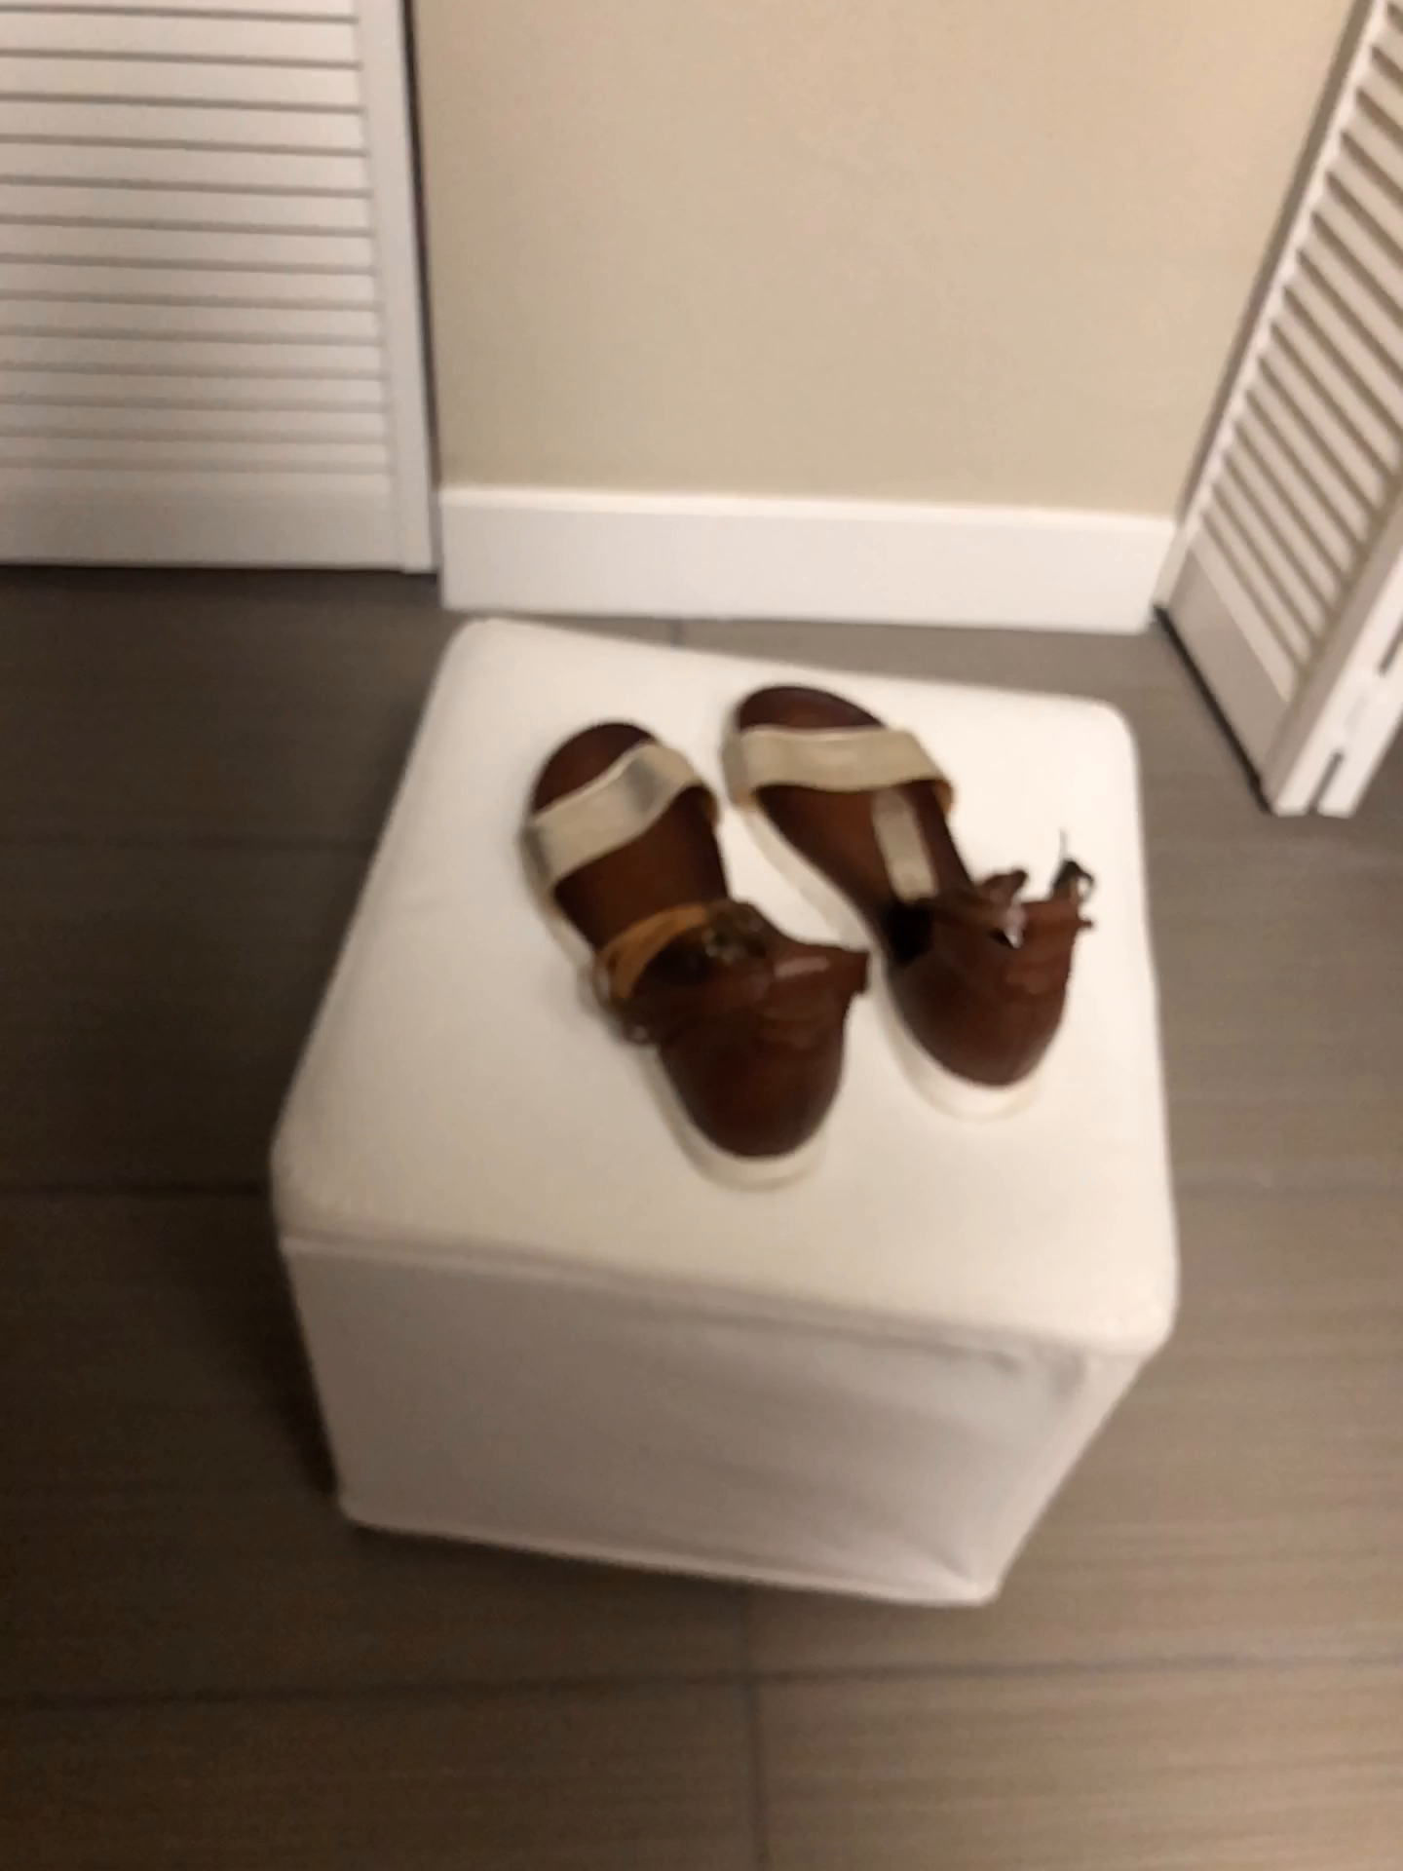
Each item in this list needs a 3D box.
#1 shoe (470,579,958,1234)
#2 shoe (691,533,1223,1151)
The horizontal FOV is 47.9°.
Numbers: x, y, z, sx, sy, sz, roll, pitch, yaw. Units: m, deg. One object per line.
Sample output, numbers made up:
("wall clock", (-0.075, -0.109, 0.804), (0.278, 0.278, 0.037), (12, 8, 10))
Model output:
("shoe", (-0.008, -0.024, 0.654), (0.110, 0.090, 0.261), (-12, 52, -16))
("shoe", (0.094, -0.051, 0.681), (0.110, 0.090, 0.261), (-12, 52, -16))
